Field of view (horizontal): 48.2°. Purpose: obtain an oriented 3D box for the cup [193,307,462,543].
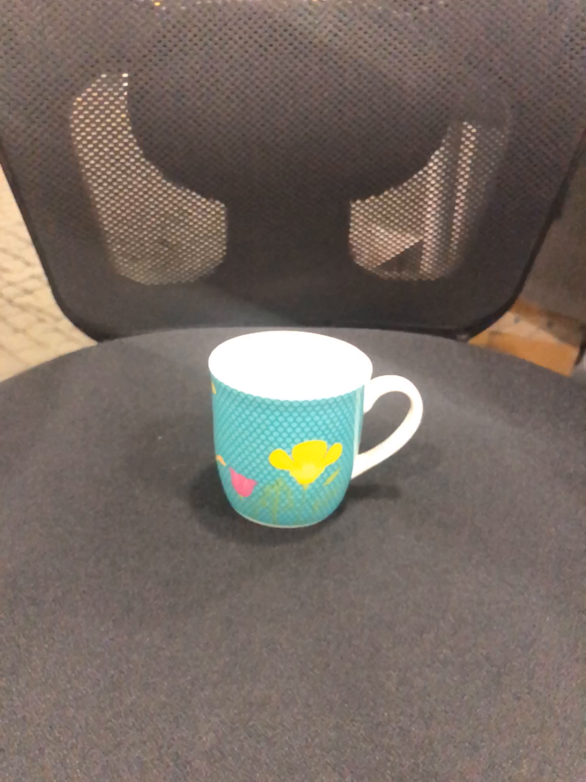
[{"bbox_3d":[0.011,0.013,0.328,0.110,0.080,0.070,-6,33,-16],"label":"cup"}]
